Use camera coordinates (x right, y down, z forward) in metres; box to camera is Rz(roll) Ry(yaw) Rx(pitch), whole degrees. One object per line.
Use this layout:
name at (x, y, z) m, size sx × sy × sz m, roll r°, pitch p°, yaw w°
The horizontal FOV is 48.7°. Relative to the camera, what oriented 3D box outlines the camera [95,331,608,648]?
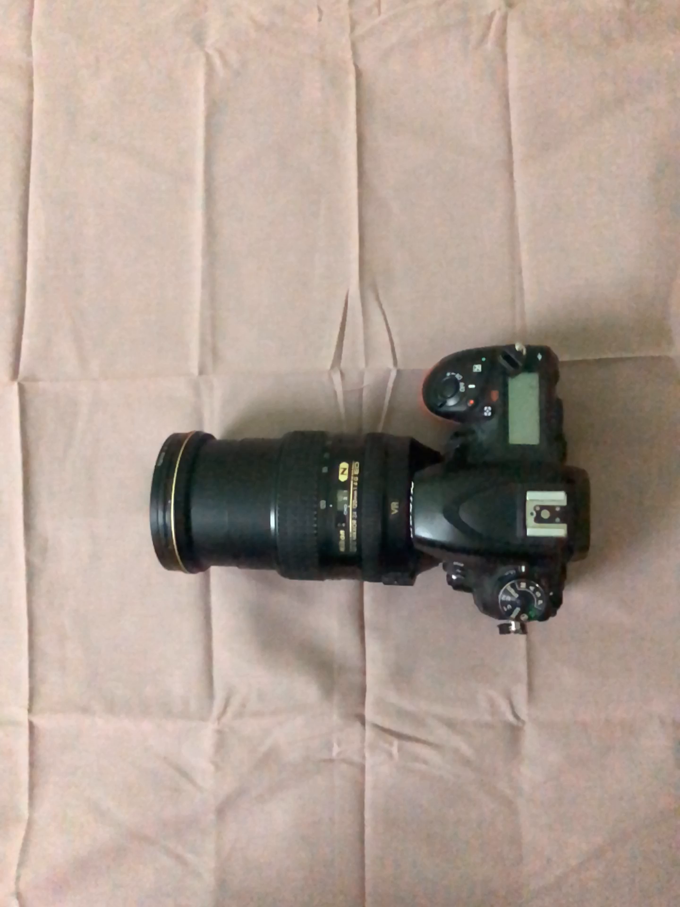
camera at (0.008, 0.018, 0.397) m, size 0.231 × 0.110 × 0.139 m, roll 0°, pitch 86°, yaw 7°
